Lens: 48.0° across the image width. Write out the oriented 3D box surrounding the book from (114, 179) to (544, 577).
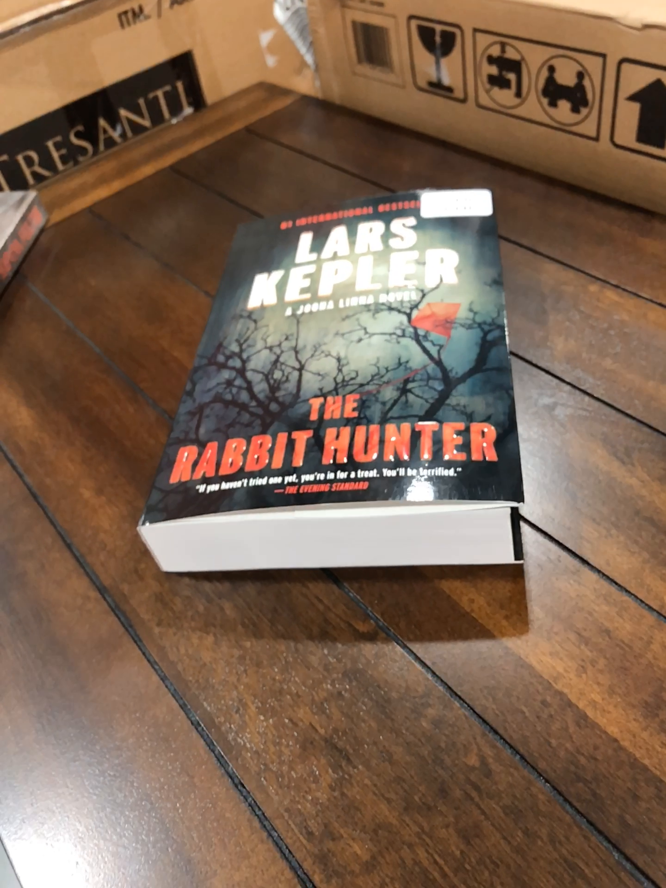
[{"bbox_3d":[0.008,-0.044,0.363,0.159,0.046,0.222,-3,46,11],"label":"book"}]
